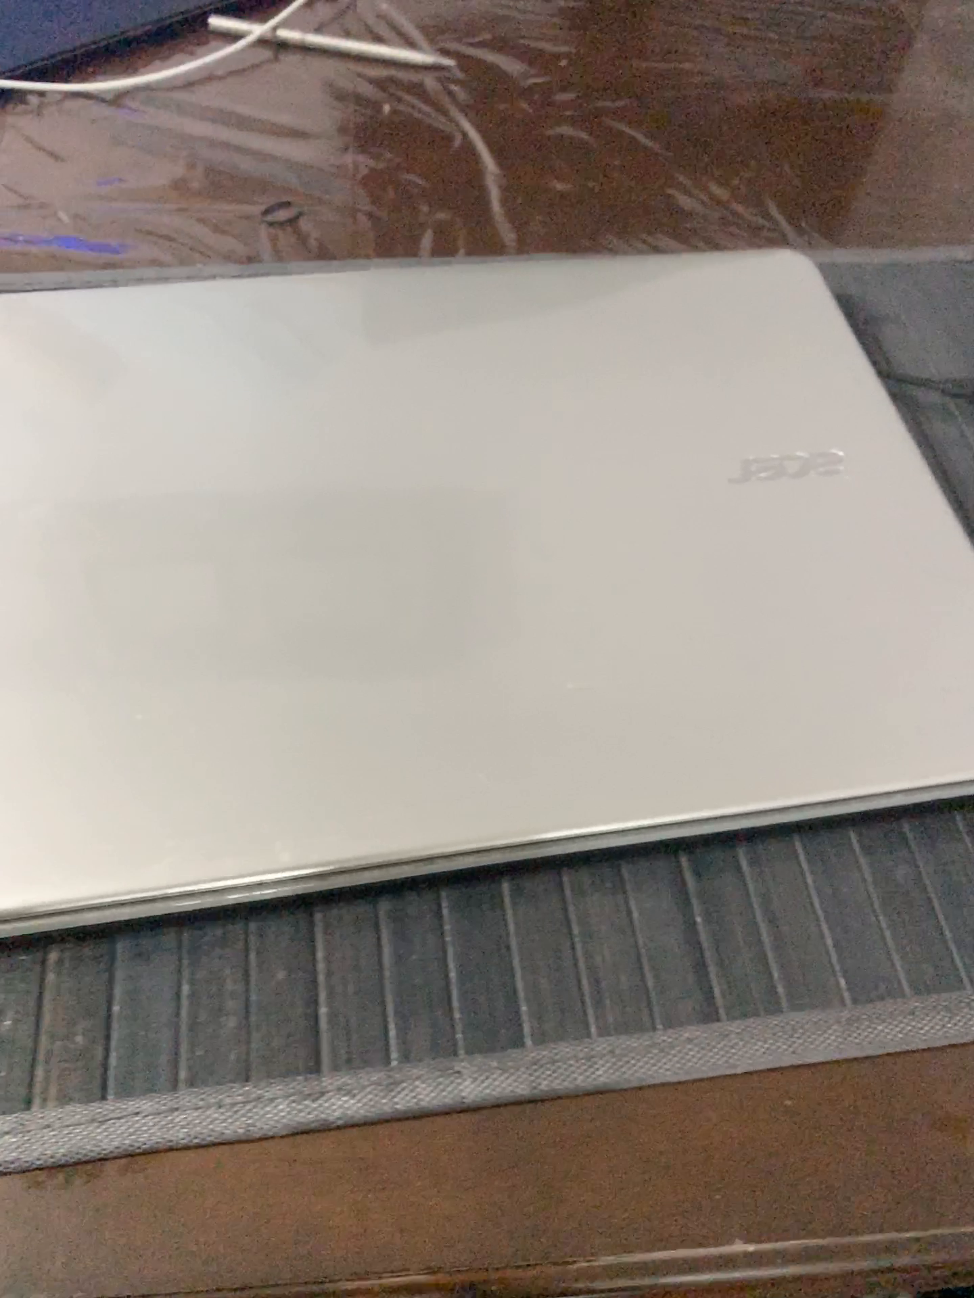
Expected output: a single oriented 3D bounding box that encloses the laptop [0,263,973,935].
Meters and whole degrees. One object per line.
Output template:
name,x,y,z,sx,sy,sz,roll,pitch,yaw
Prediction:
laptop,-0.015,-0.044,0.321,0.335,0.002,0.224,-6,58,-10
